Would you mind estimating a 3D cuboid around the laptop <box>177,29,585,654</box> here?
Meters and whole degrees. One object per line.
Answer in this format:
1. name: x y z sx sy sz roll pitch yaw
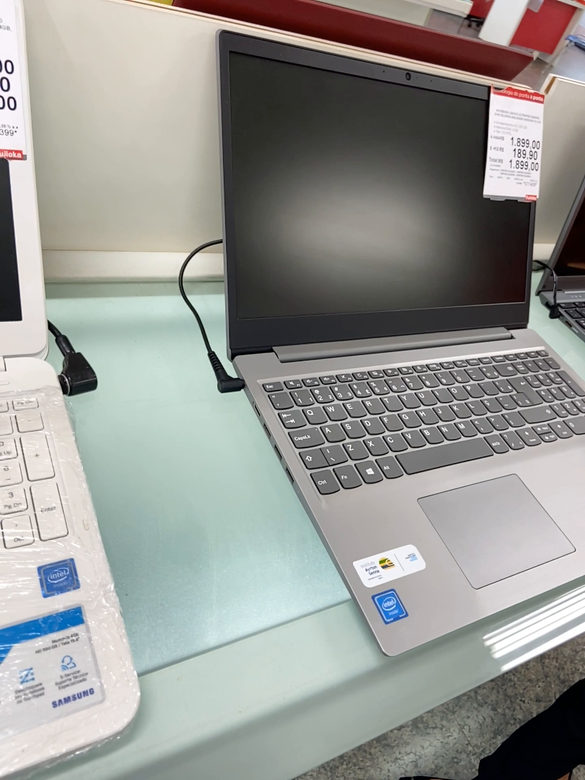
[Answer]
1. laptop: 0.159 -0.079 0.488 0.368 0.189 0.403 -7 49 -30
